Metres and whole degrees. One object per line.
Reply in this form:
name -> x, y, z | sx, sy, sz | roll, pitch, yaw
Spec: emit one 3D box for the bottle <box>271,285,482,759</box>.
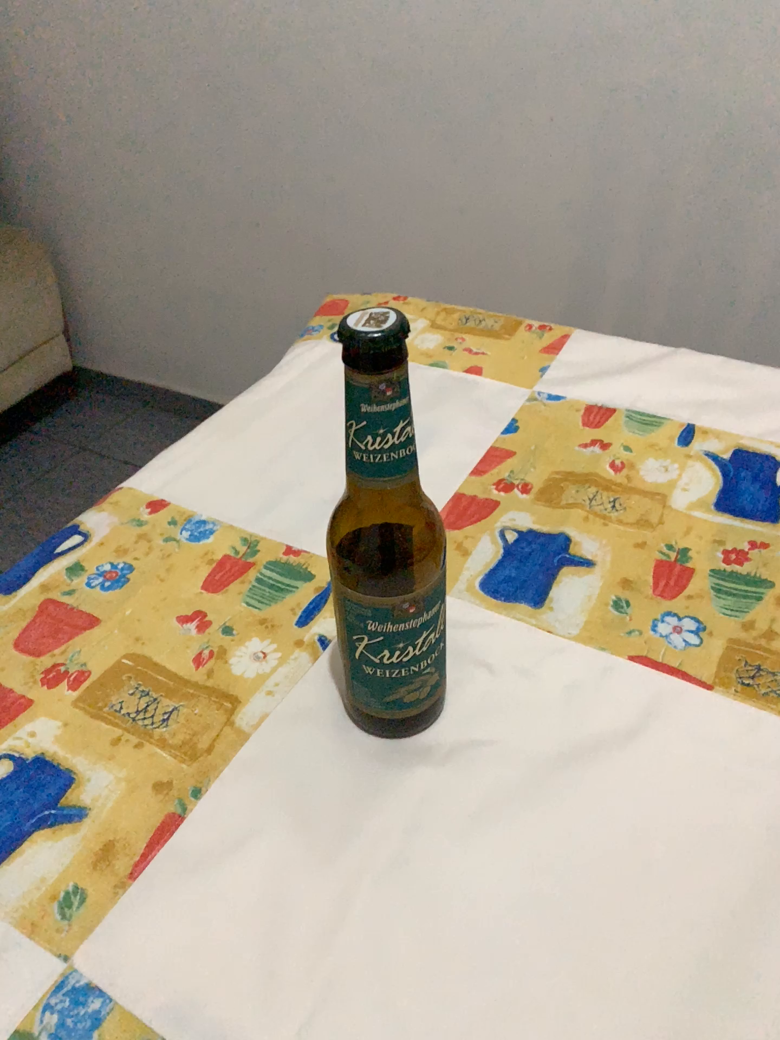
bottle -> -0.002, 0.013, 0.387 | 0.070, 0.229, 0.060 | -12, 39, -11
